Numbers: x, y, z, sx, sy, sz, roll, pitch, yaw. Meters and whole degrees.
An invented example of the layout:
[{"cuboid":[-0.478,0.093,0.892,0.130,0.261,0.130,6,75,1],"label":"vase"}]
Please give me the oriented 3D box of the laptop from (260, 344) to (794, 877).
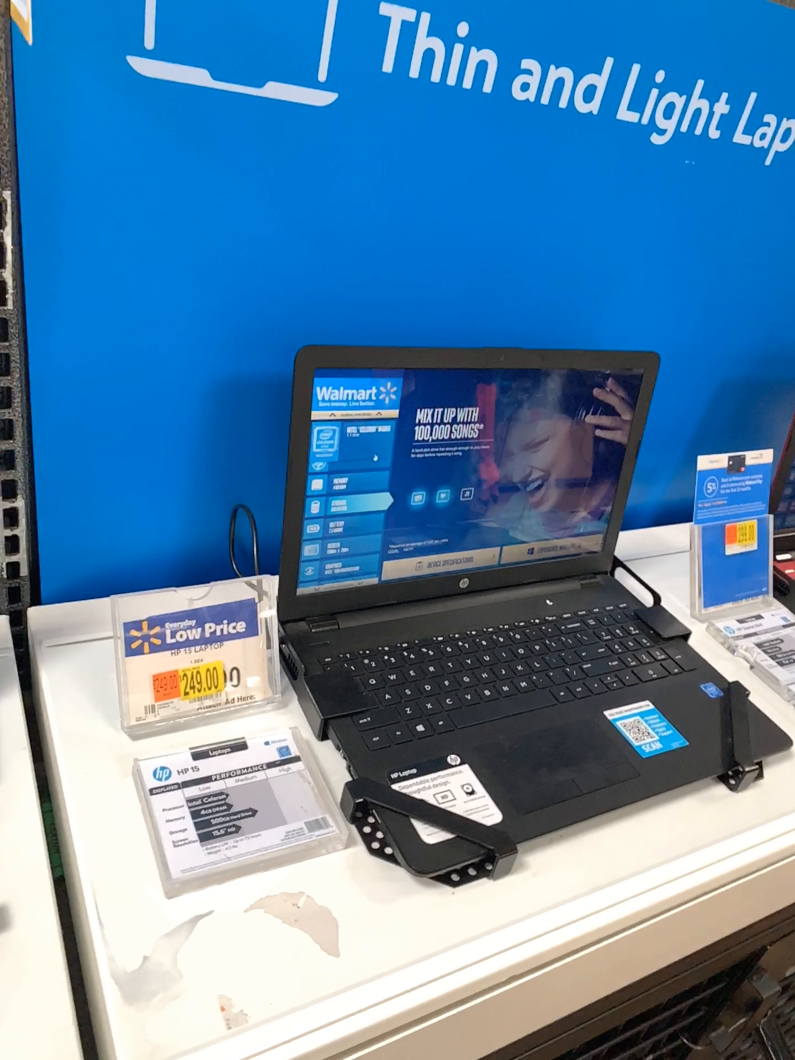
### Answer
[{"cuboid":[0.127,0.022,0.631,0.363,0.225,0.287,-6,37,-29],"label":"laptop"}]
